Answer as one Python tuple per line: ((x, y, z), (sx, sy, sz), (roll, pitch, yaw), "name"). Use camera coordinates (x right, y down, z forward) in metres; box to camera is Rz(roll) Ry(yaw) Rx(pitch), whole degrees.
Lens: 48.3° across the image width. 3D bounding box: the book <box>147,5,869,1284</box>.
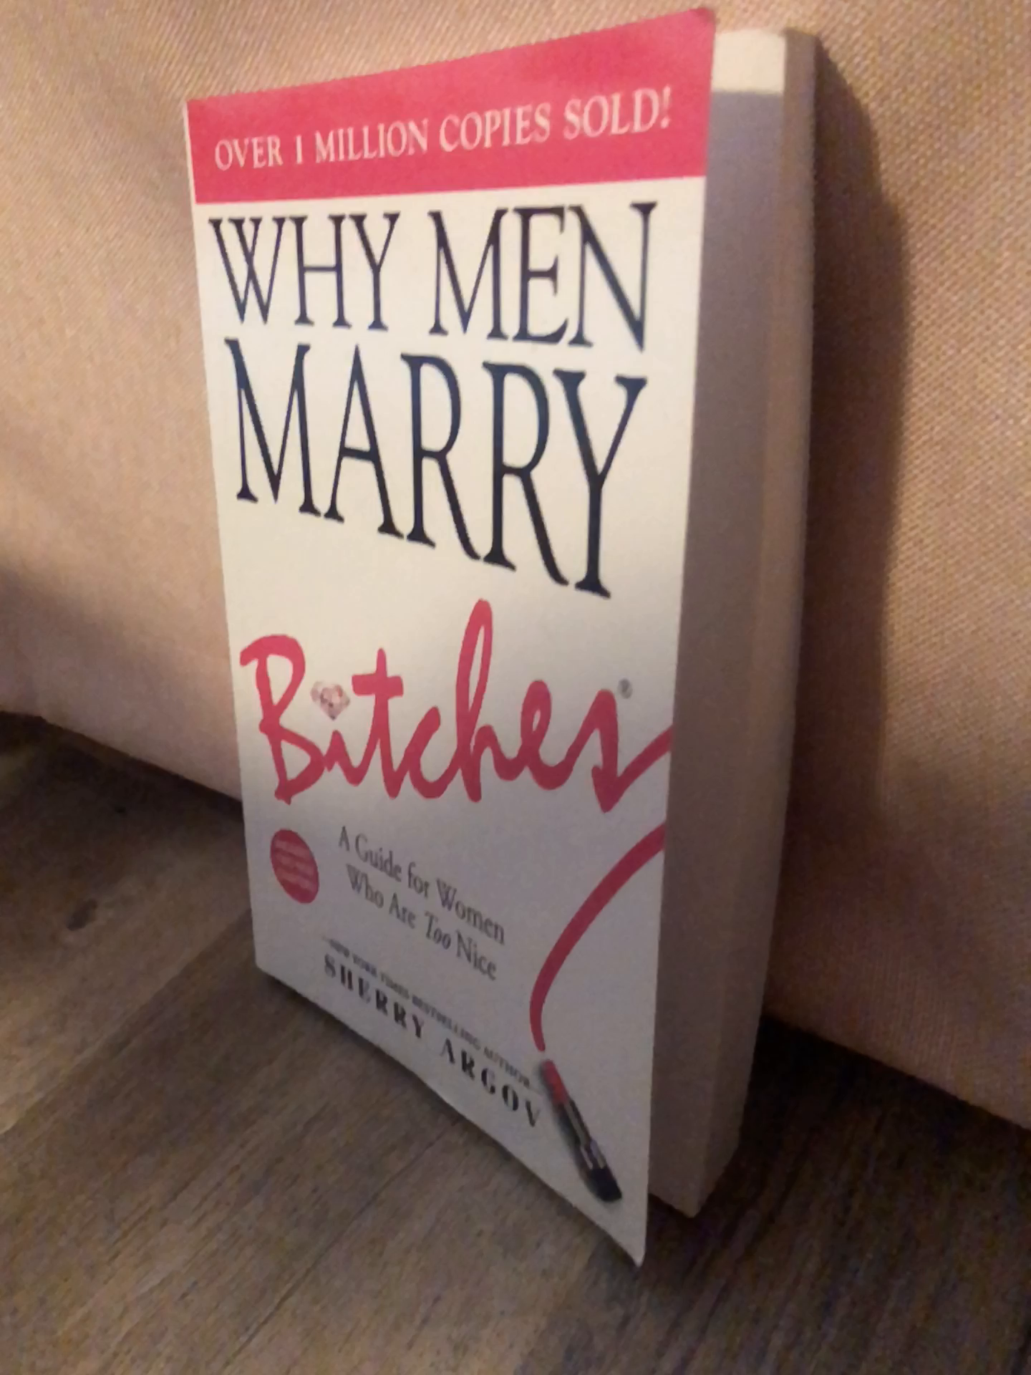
((-0.014, -0.010, 0.248), (0.037, 0.219, 0.150), (-19, 29, -41), "book")
